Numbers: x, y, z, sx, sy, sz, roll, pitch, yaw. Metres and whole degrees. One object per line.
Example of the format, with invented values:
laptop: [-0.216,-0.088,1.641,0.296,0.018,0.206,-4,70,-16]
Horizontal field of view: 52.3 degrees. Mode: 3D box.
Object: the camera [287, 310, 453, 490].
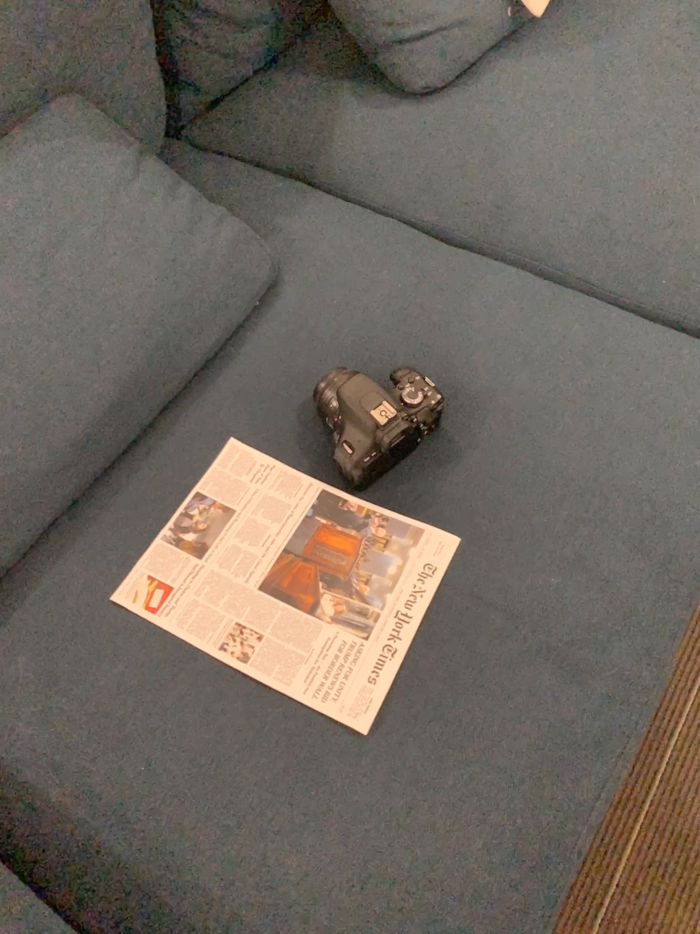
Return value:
camera: [0.025,-0.075,0.804,0.140,0.100,0.110,-40,65,-15]
